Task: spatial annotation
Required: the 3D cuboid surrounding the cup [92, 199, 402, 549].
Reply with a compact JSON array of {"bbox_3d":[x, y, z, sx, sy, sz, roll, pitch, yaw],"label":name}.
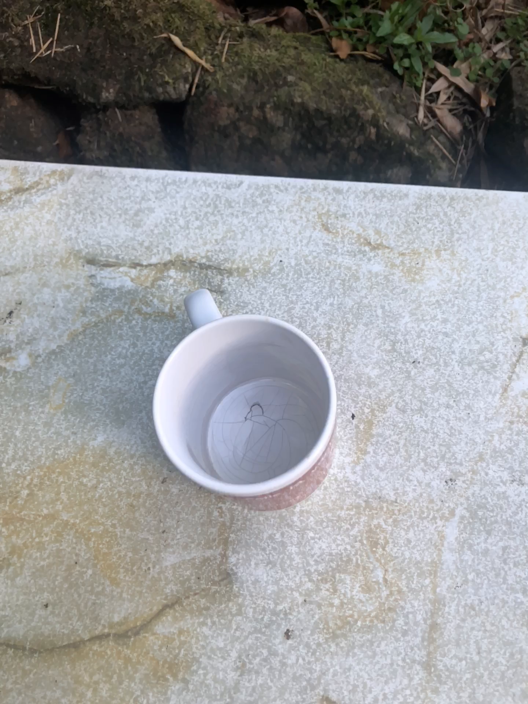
[{"bbox_3d":[-0.008,0.015,0.286,0.086,0.083,0.129,-25,71,-4],"label":"cup"}]
